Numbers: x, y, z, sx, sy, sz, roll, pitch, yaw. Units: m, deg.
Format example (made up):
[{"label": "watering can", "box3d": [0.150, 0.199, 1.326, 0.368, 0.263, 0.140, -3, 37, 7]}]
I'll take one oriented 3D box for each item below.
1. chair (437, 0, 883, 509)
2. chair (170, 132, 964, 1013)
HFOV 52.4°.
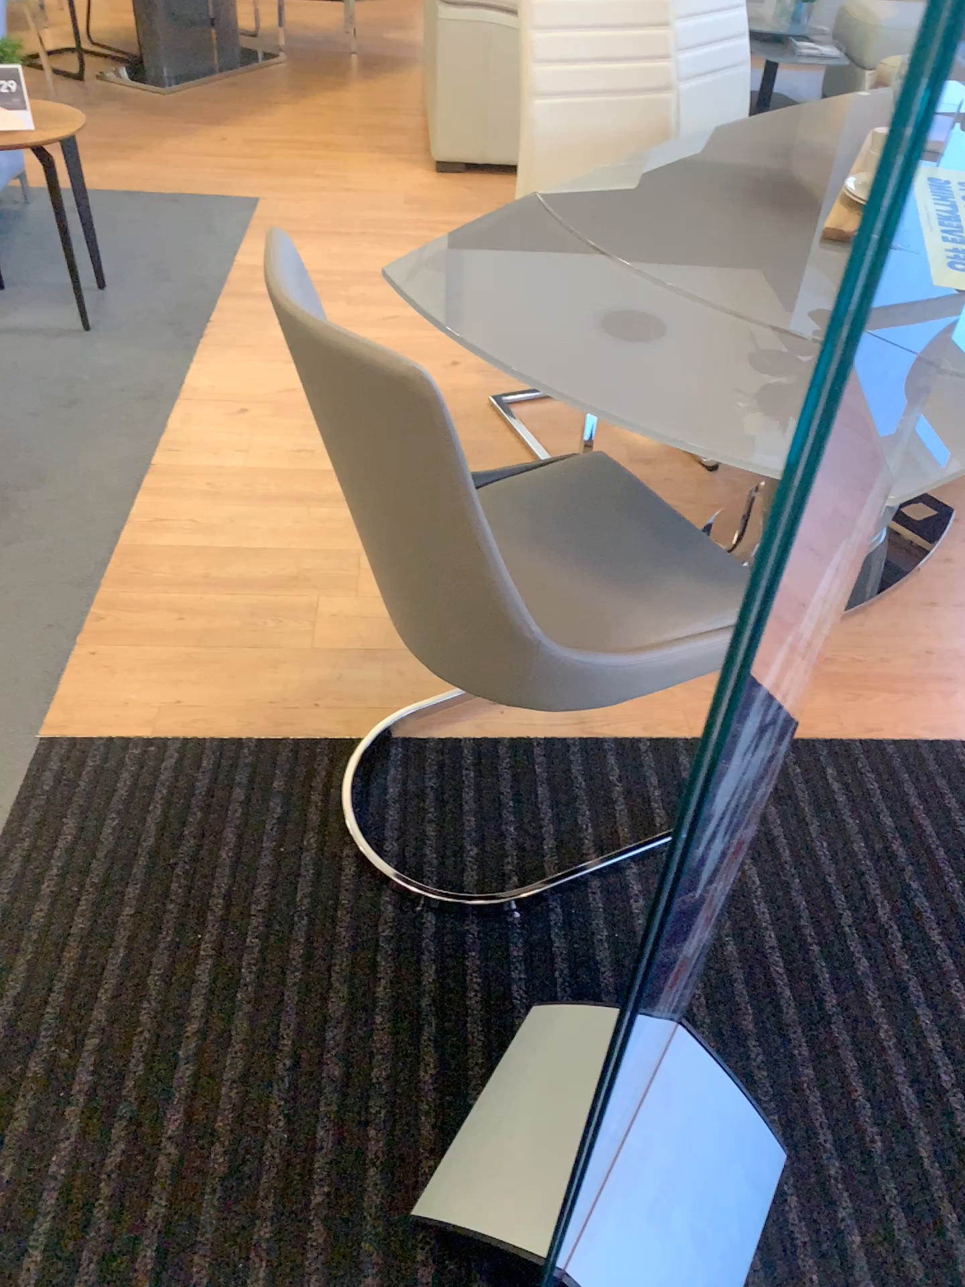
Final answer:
[{"label": "chair", "box3d": [0.276, -0.890, 2.071, 0.541, 0.931, 0.625, -13, 44, -18]}, {"label": "chair", "box3d": [0.058, -0.097, 1.317, 0.681, 0.901, 0.534, -17, 45, -22]}]
